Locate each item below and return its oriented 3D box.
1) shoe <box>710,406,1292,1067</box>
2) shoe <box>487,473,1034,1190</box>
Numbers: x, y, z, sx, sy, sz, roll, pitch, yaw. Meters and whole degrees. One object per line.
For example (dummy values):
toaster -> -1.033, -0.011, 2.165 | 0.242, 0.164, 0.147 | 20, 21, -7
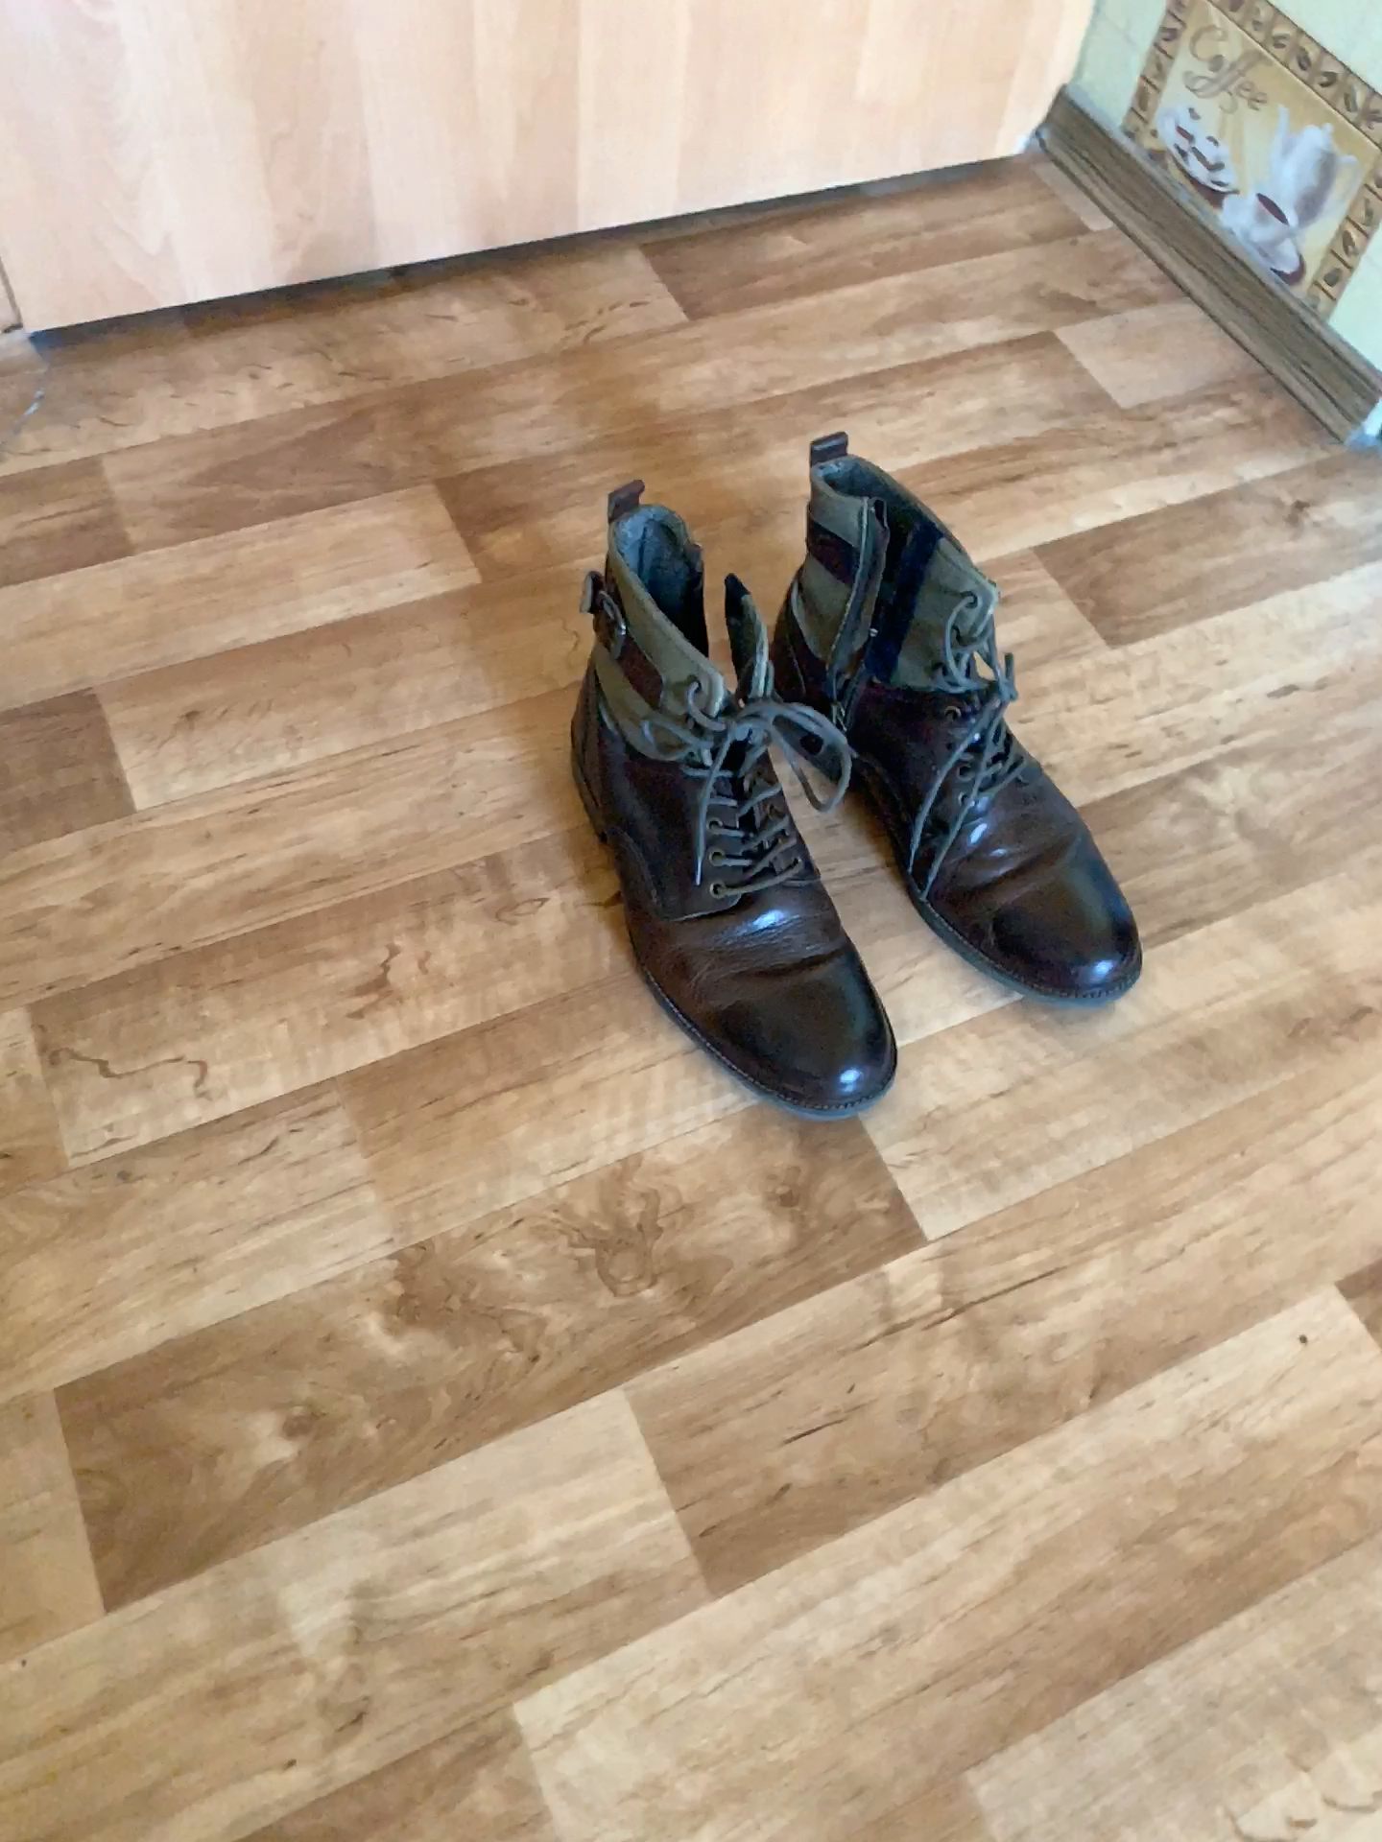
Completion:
shoe -> 0.141, -0.103, 0.748 | 0.110, 0.150, 0.311 | -24, 63, -19
shoe -> 0.015, -0.050, 0.697 | 0.110, 0.150, 0.311 | -22, 63, -18
